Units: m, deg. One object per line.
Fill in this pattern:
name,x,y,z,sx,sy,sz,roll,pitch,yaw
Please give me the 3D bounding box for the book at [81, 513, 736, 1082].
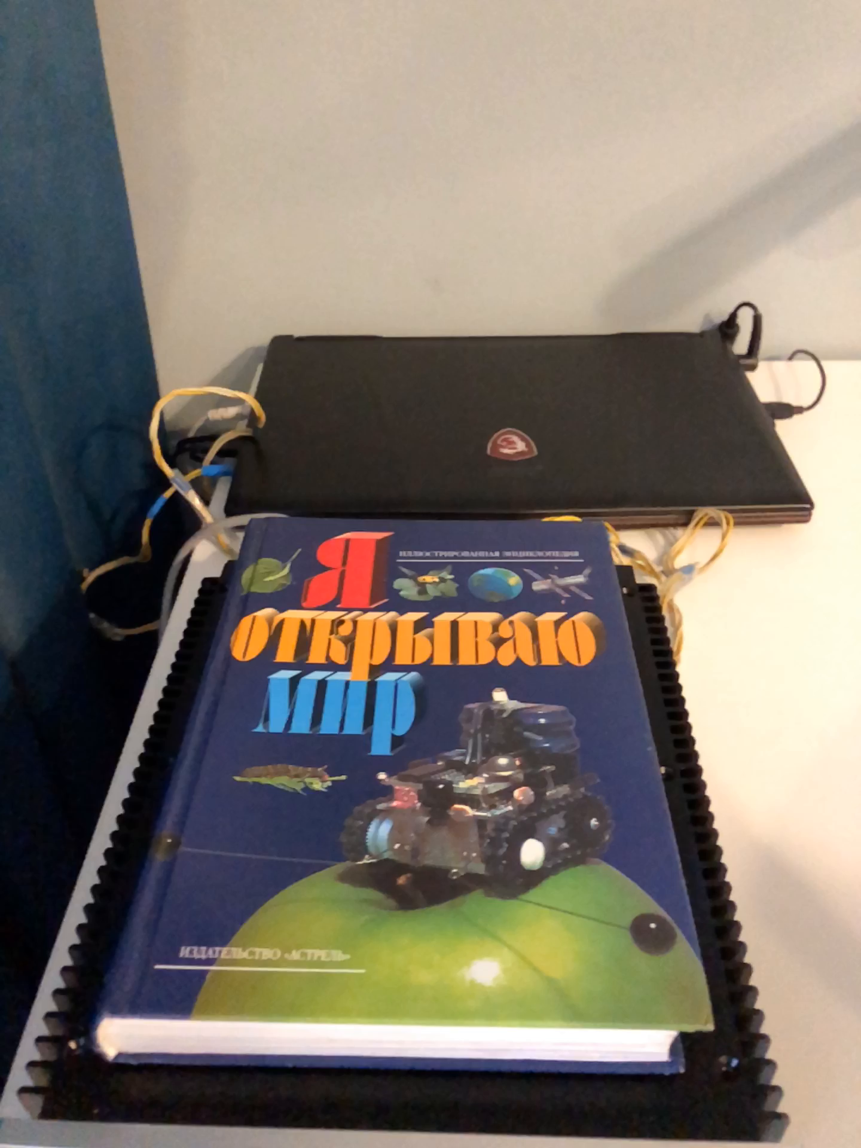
book,-0.003,0.061,0.381,0.186,0.030,0.257,1,37,1
